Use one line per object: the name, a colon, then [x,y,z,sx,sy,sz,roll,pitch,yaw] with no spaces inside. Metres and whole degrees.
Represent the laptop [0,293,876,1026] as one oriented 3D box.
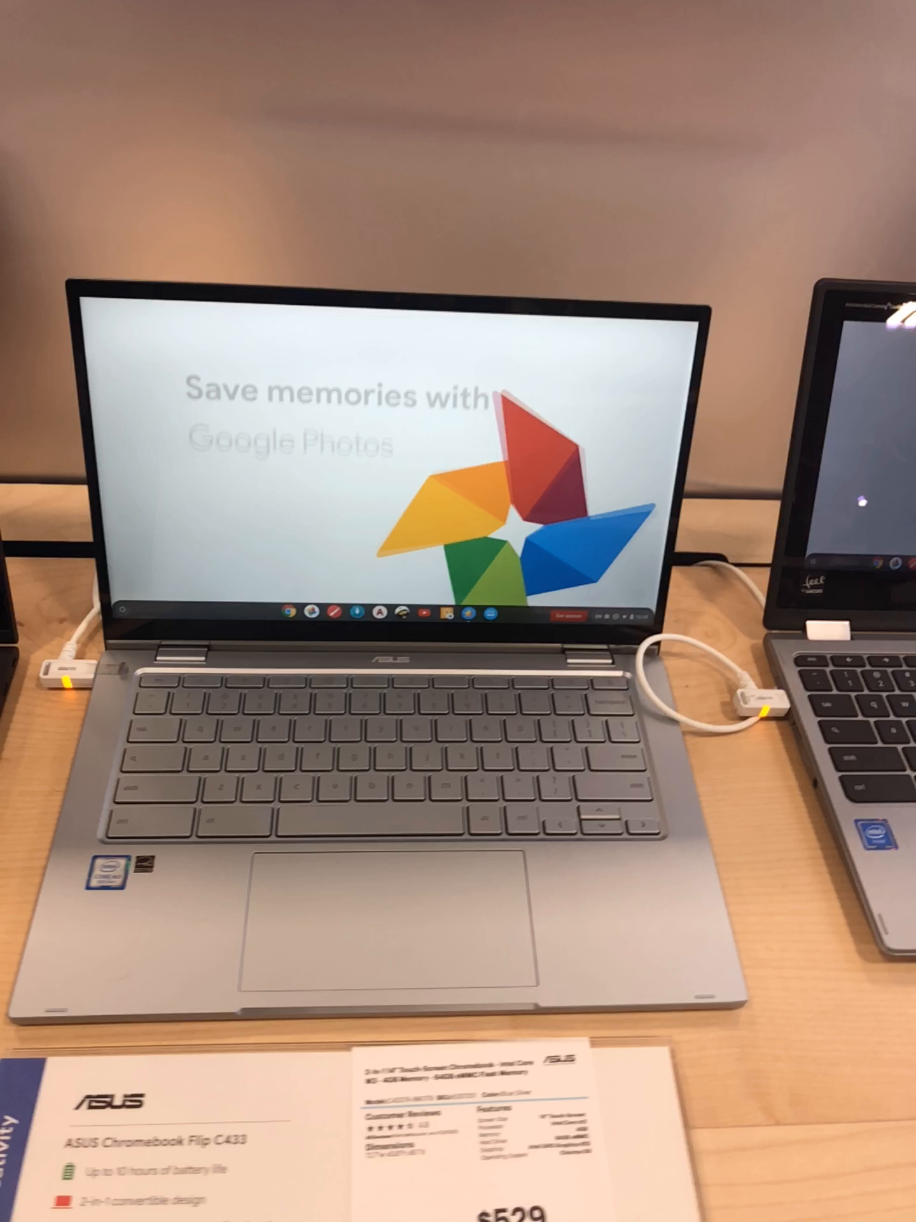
laptop: [-0.034,0.005,0.465,0.309,0.174,0.283,0,45,-6]
